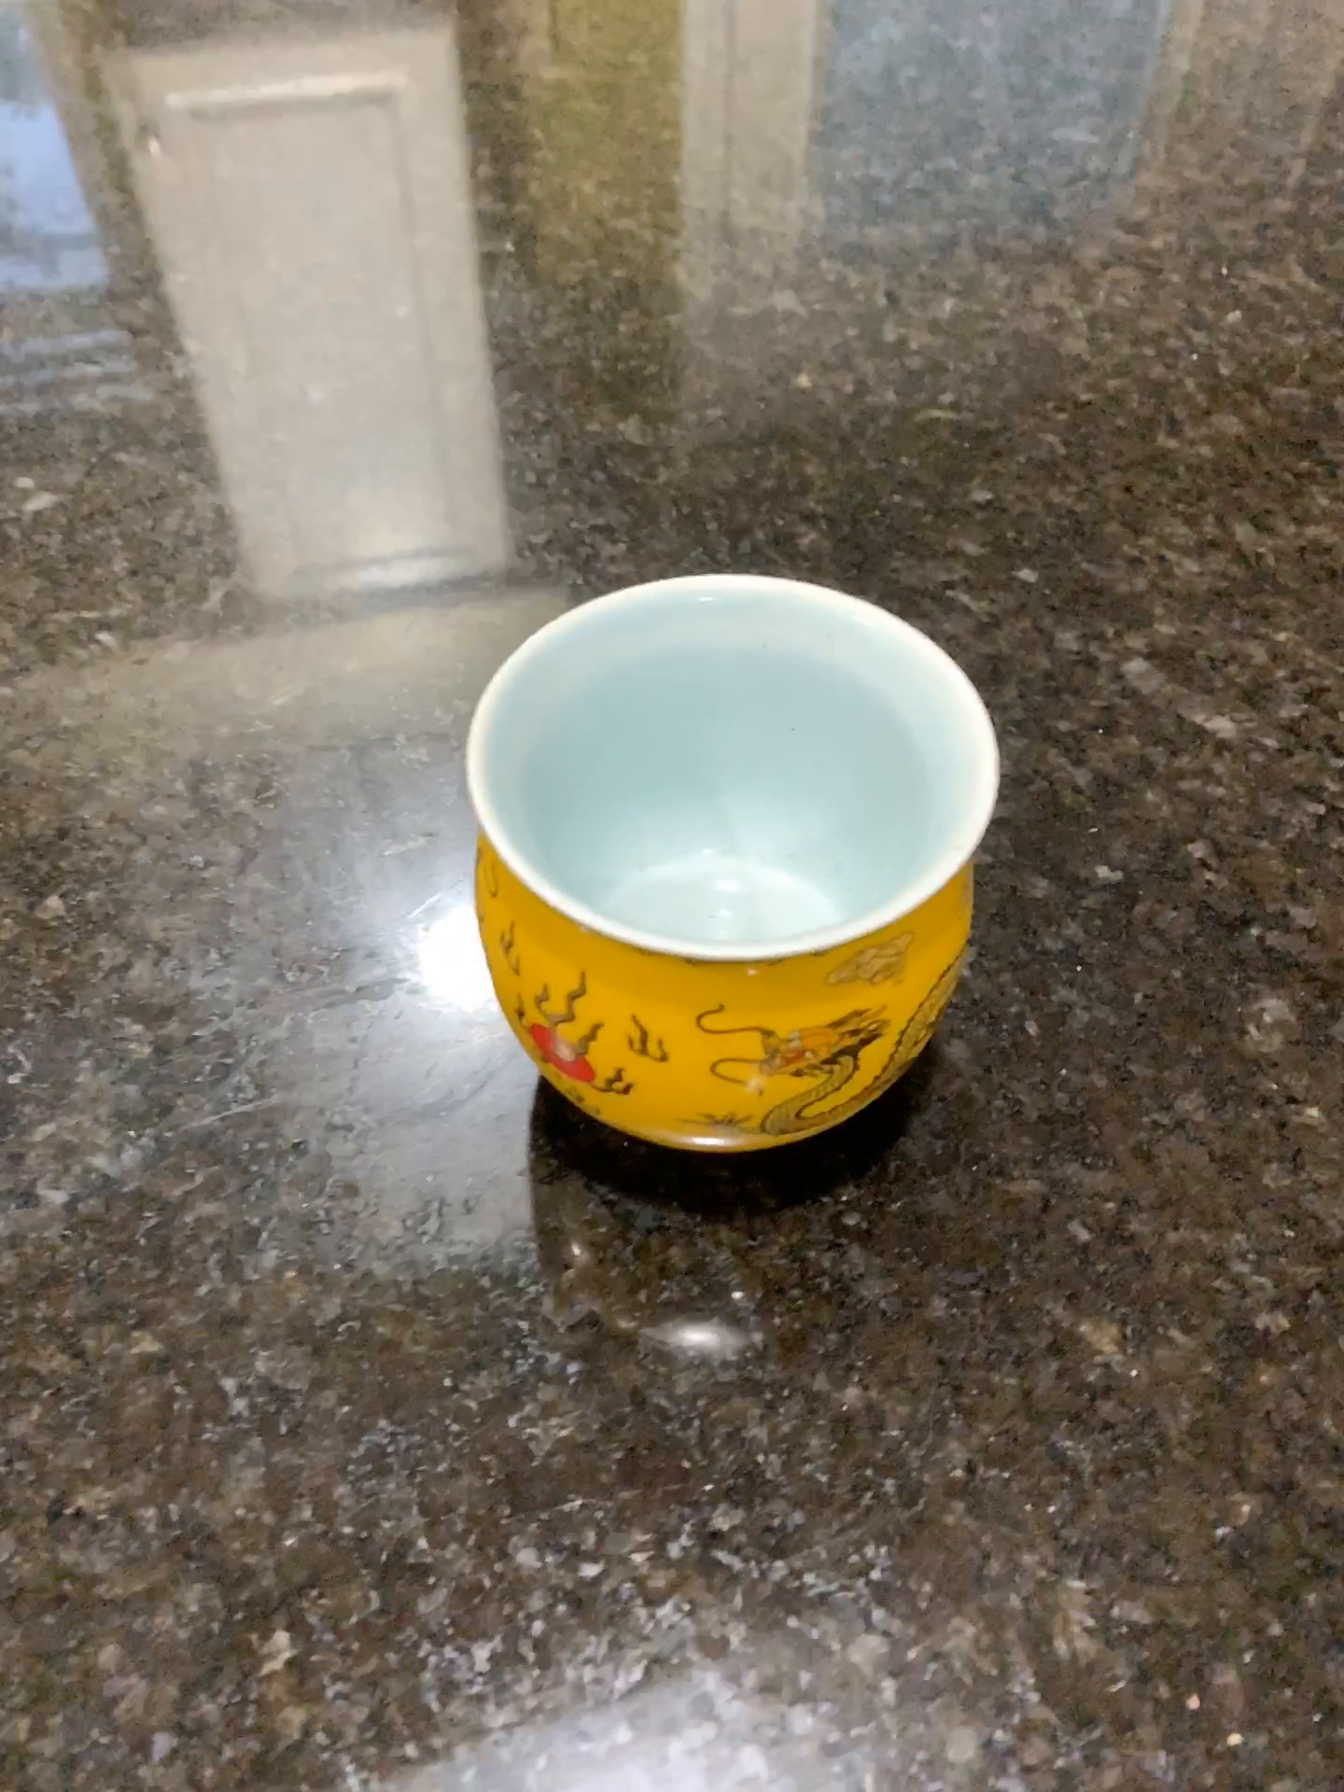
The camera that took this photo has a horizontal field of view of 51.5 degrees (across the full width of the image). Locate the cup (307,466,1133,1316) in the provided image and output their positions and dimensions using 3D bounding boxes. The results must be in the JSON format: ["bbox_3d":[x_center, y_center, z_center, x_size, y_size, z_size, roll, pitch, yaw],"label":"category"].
[{"bbox_3d":[0.006,-0.003,0.201,0.076,0.066,0.073,0,51,0],"label":"cup"}]
